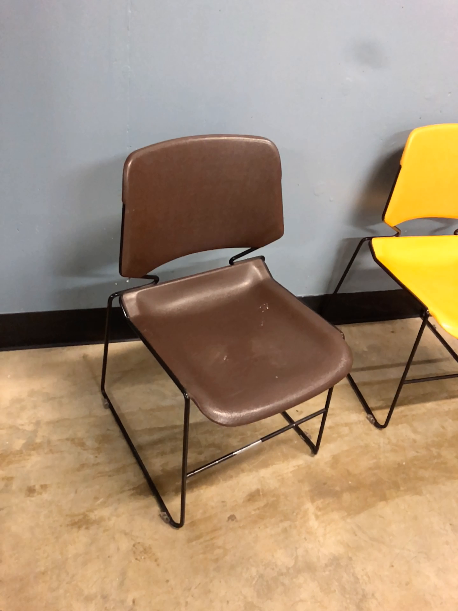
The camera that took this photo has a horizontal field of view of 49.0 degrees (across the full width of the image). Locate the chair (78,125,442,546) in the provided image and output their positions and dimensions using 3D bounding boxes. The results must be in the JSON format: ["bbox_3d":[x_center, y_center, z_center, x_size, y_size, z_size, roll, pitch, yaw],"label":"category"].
[{"bbox_3d":[0.001,0.047,1.240,0.516,0.751,0.547,-18,46,-30],"label":"chair"}]
